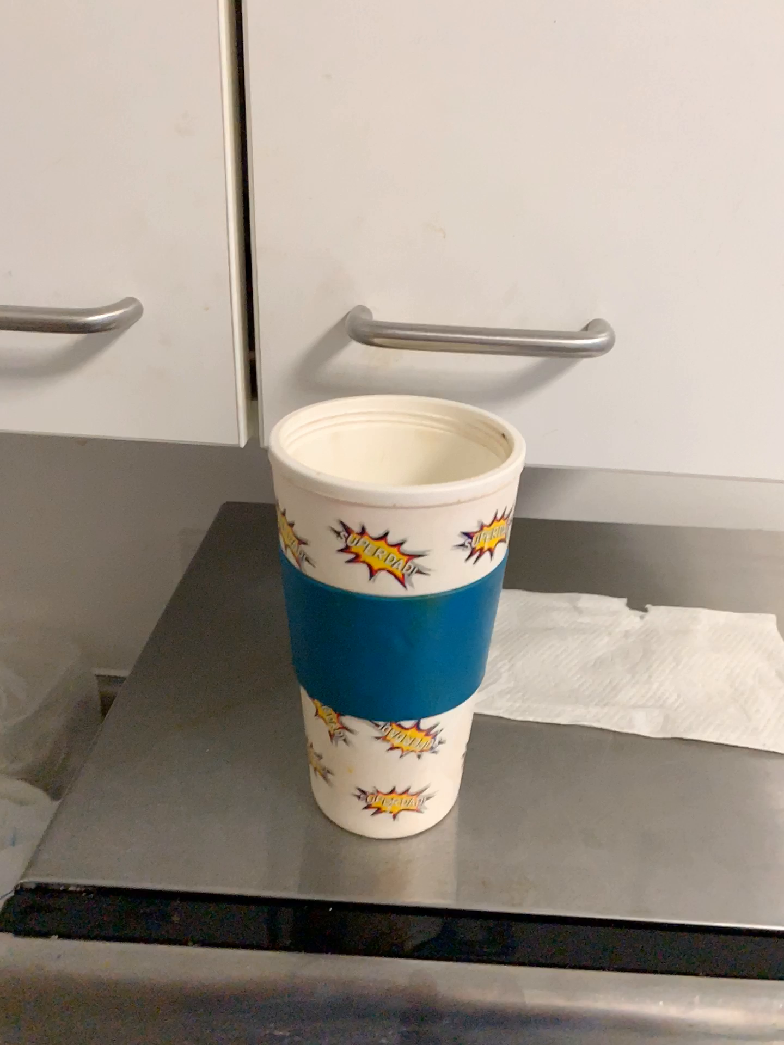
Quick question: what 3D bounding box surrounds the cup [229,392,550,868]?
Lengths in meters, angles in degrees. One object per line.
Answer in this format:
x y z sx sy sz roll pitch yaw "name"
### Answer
-0.003 0.037 0.306 0.092 0.146 0.097 2 25 -1 "cup"
